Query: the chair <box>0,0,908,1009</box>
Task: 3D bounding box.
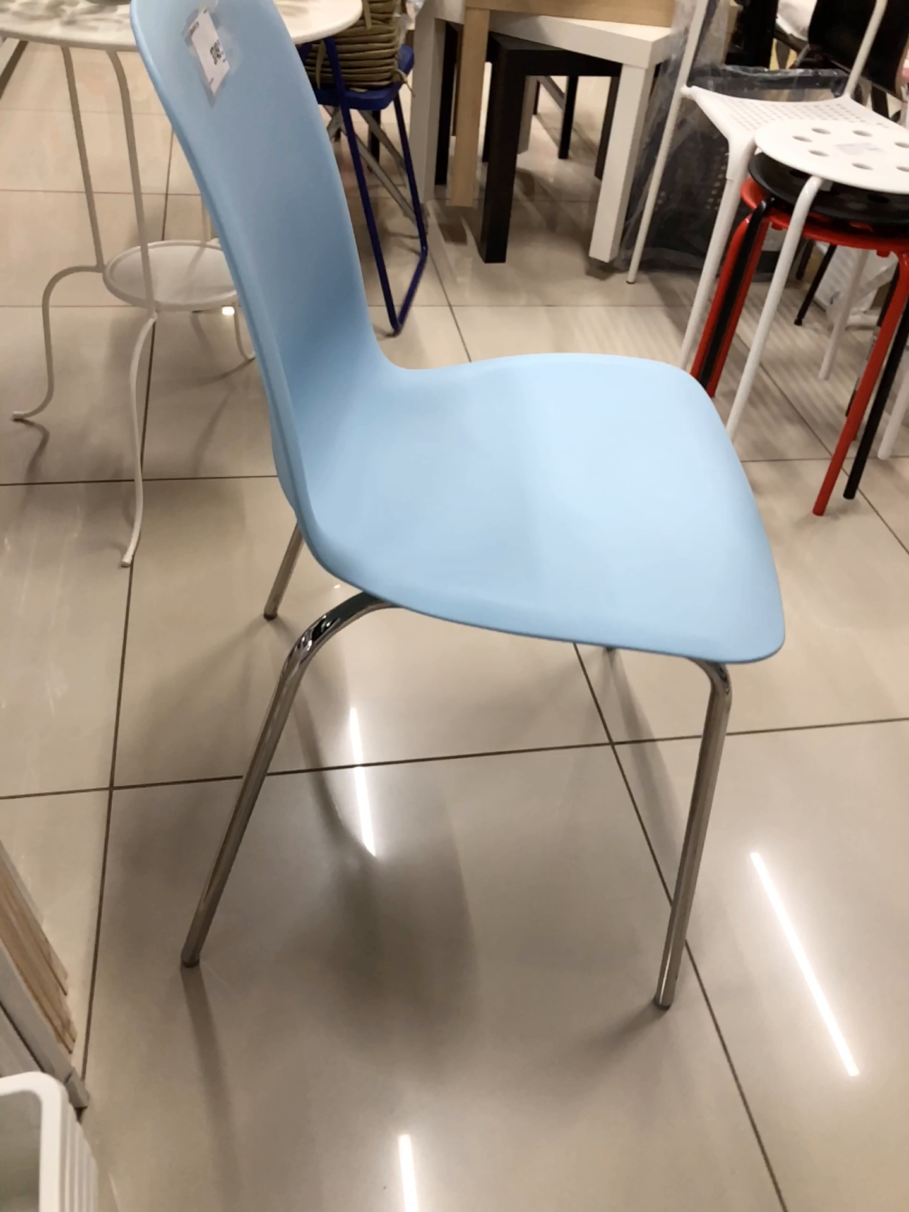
[{"bbox_3d":[-0.004,-0.089,0.904,0.540,0.755,0.564,2,42,-5],"label":"chair"}]
